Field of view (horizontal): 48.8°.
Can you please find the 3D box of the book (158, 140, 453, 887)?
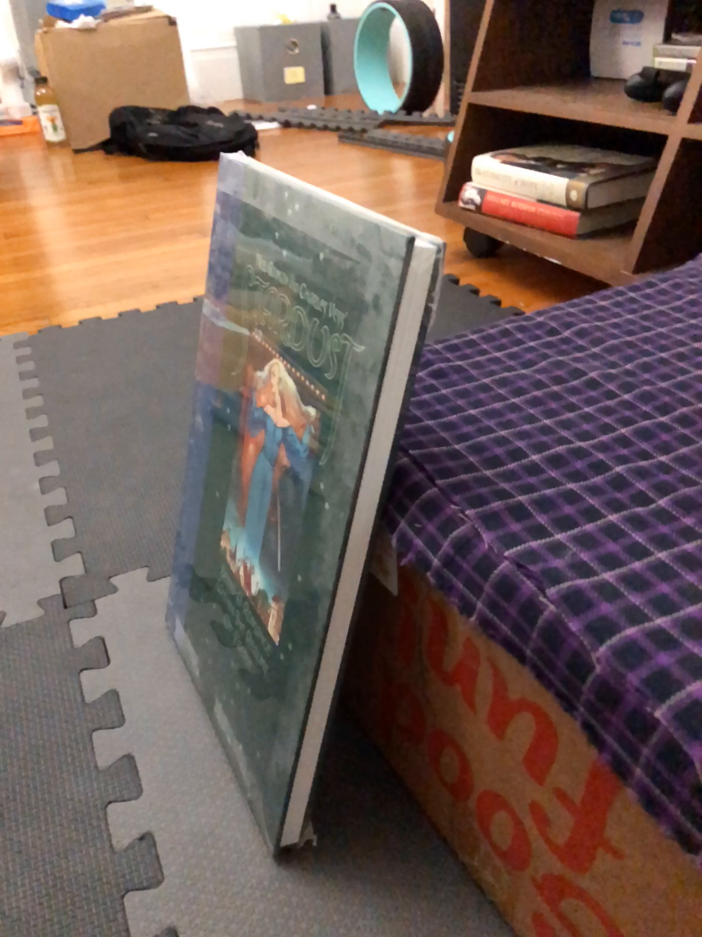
[{"bbox_3d":[-0.051,0.014,0.410,0.020,0.328,0.211,-2,26,-29],"label":"book"}]
